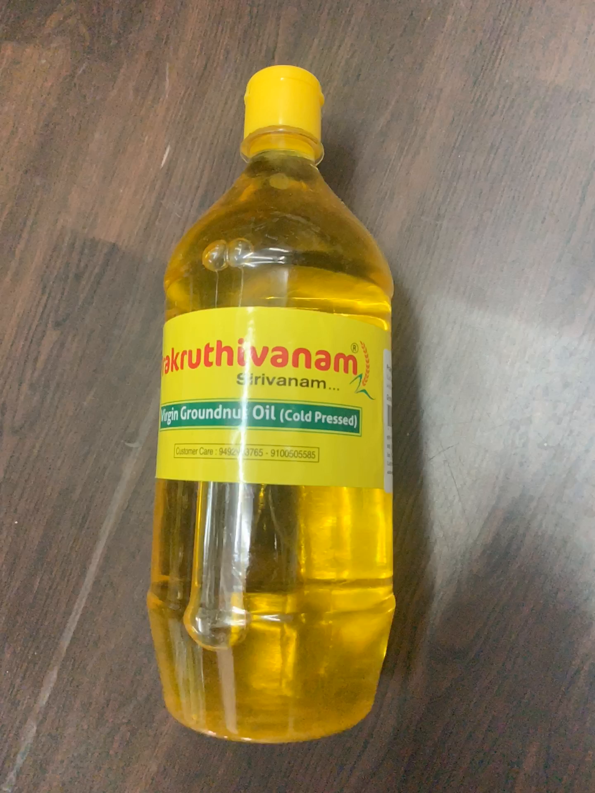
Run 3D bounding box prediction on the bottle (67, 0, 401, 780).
[{"bbox_3d":[-0.012,-0.023,0.228,0.090,0.080,0.260,-1,82,16],"label":"bottle"}]
